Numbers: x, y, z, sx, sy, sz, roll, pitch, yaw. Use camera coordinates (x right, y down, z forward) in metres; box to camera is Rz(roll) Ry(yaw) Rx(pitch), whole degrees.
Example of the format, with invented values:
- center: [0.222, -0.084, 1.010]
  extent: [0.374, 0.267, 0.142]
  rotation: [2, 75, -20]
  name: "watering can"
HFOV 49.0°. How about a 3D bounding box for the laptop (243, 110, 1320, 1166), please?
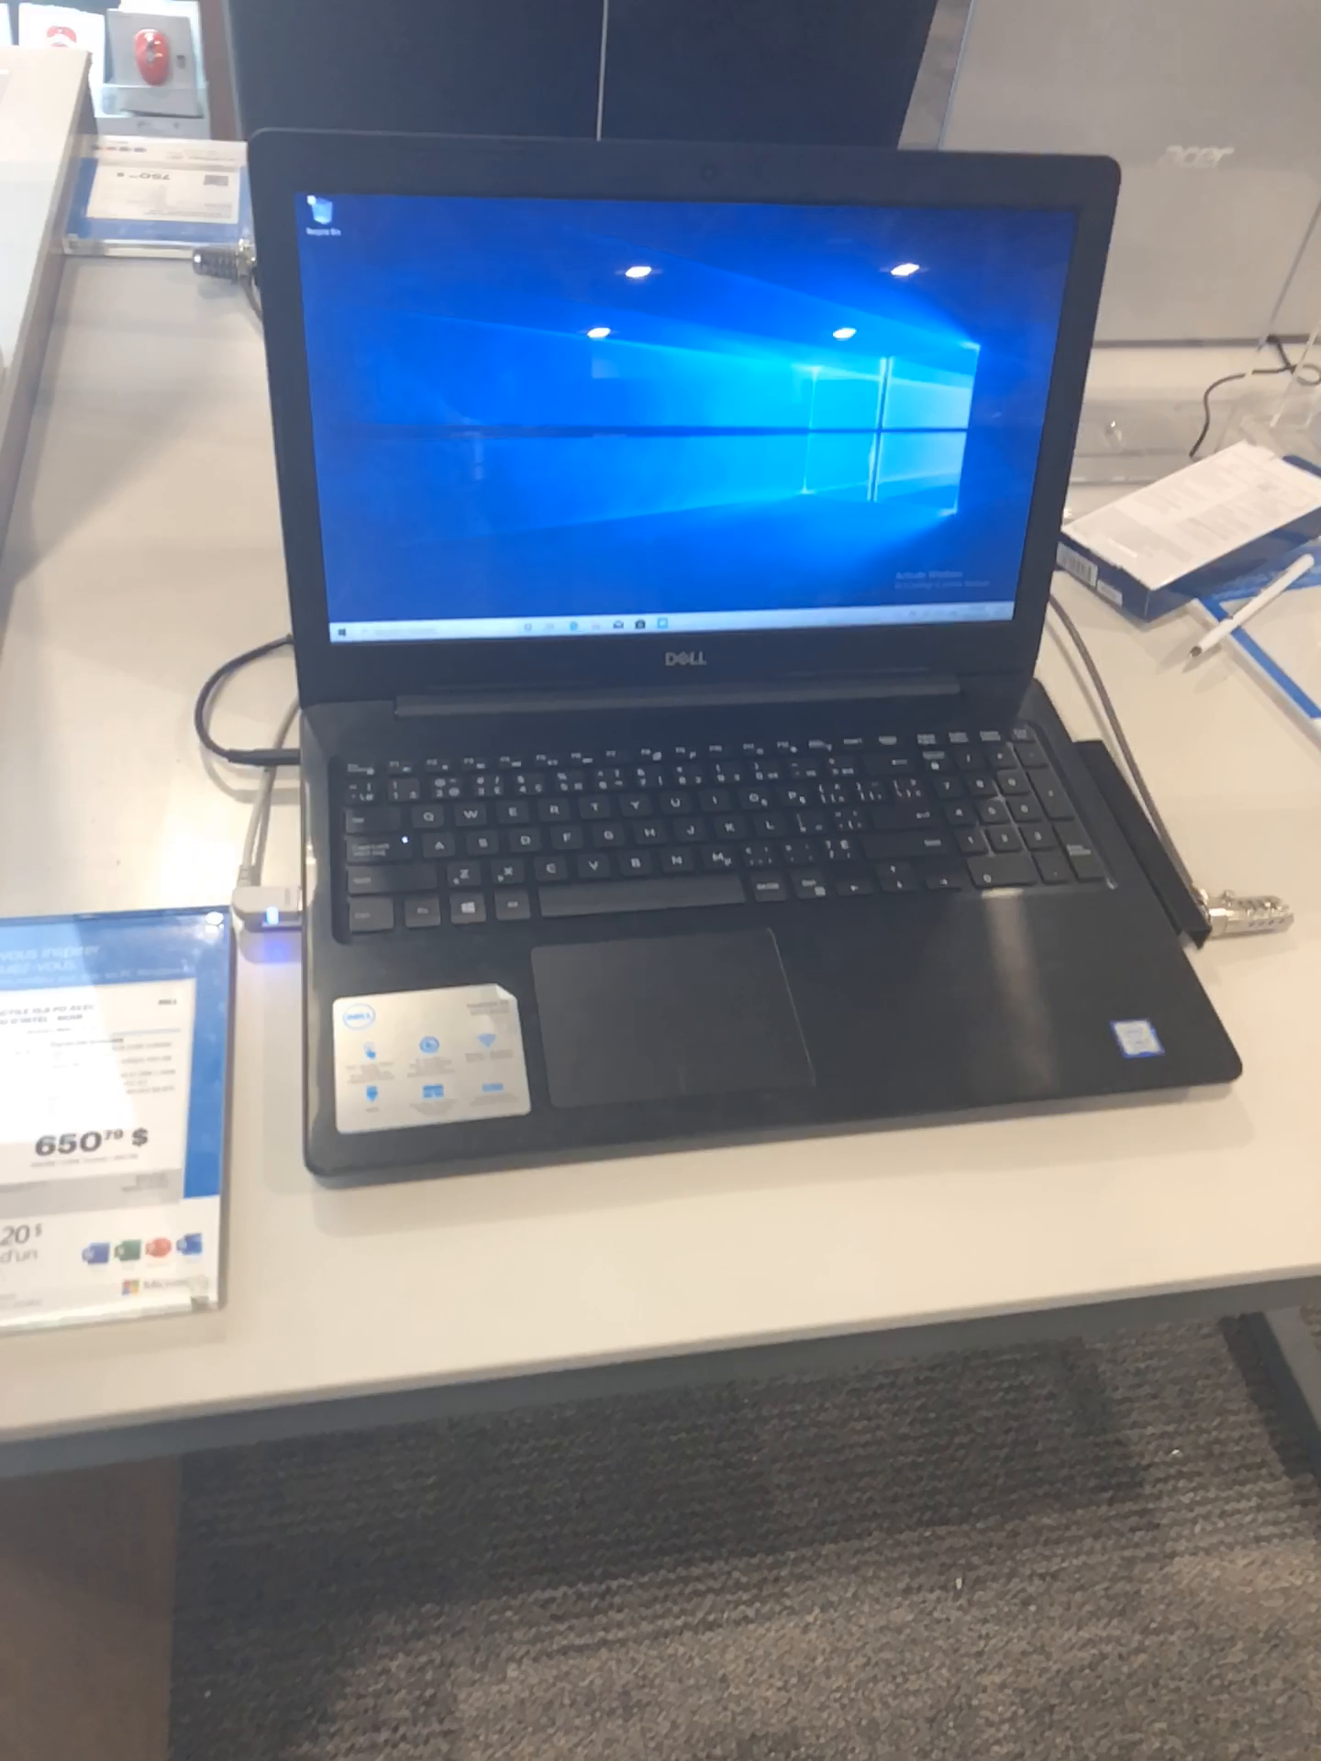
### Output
- center: [0.034, -0.114, 0.584]
  extent: [0.364, 0.224, 0.337]
  rotation: [-4, 50, -10]
  name: "laptop"
